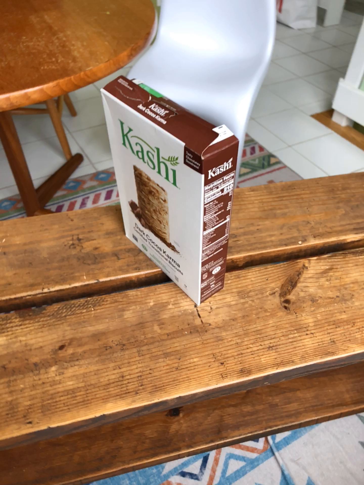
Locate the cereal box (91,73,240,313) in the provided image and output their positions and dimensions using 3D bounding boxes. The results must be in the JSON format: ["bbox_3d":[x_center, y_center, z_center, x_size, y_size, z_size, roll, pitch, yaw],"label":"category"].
[{"bbox_3d":[-0.024,-0.059,0.565,0.060,0.278,0.201,-33,55,-25],"label":"cereal box"}]
